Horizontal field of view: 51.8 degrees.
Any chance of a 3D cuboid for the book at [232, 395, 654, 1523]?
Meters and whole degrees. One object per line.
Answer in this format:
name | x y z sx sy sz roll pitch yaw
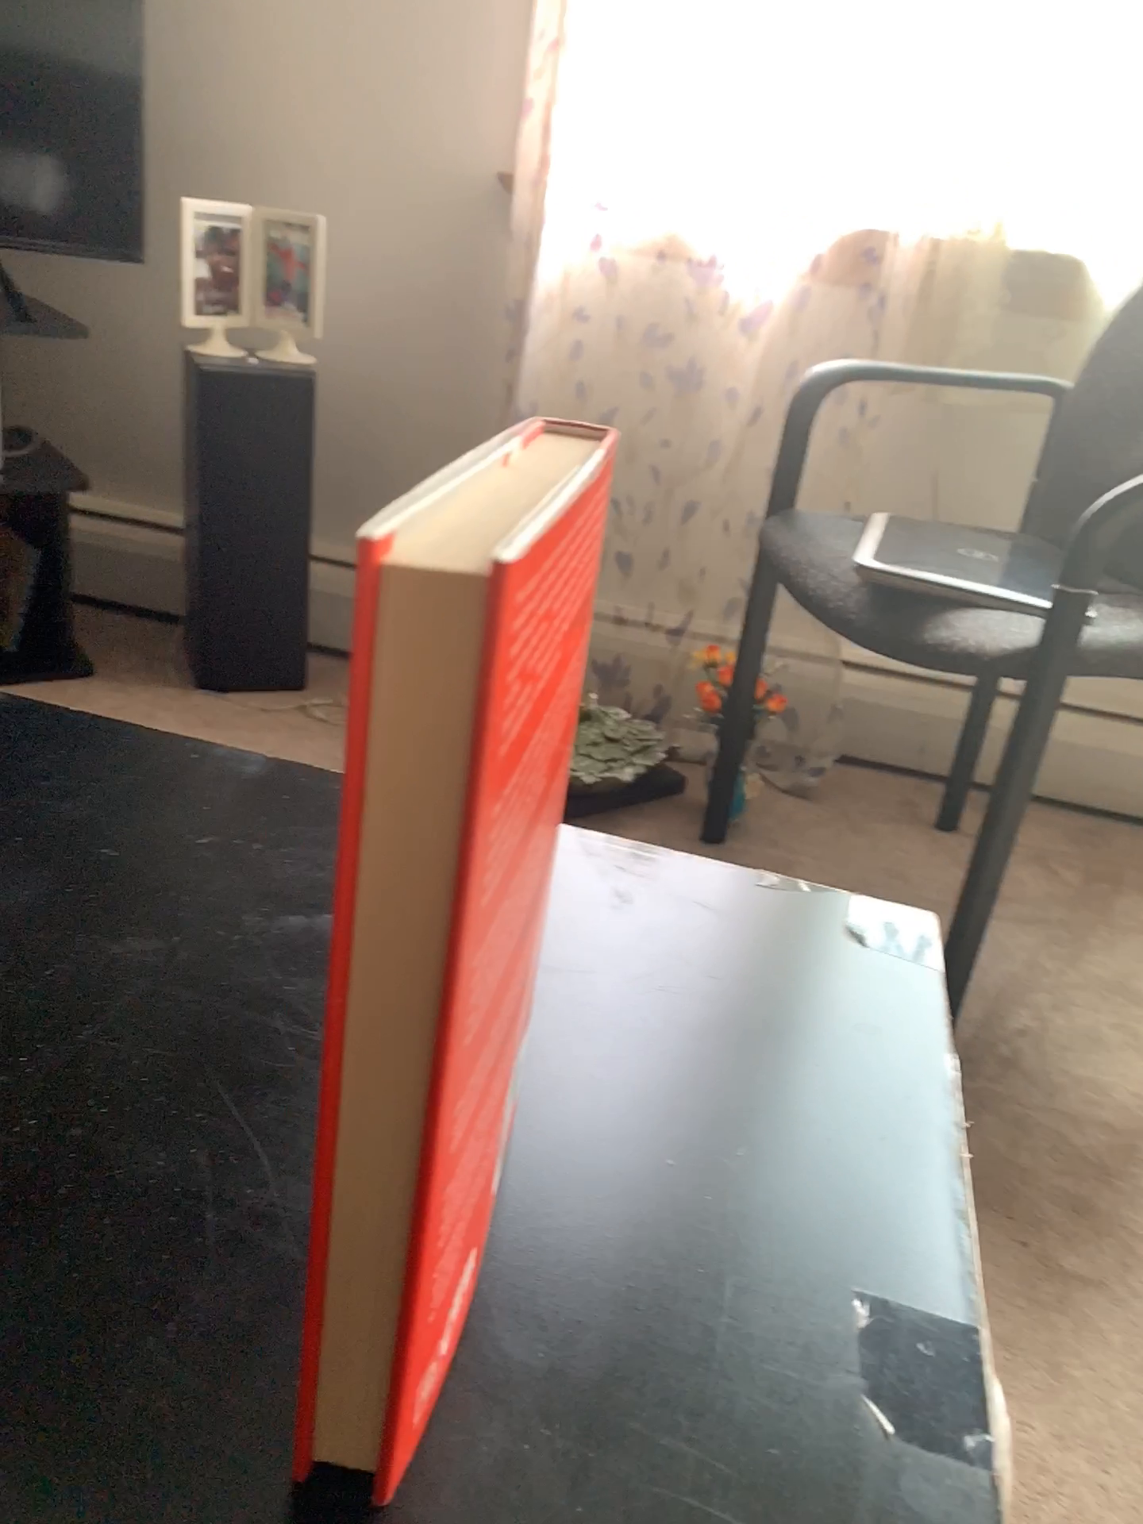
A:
book | -0.028 0.040 0.301 0.040 0.238 0.171 11 23 6
